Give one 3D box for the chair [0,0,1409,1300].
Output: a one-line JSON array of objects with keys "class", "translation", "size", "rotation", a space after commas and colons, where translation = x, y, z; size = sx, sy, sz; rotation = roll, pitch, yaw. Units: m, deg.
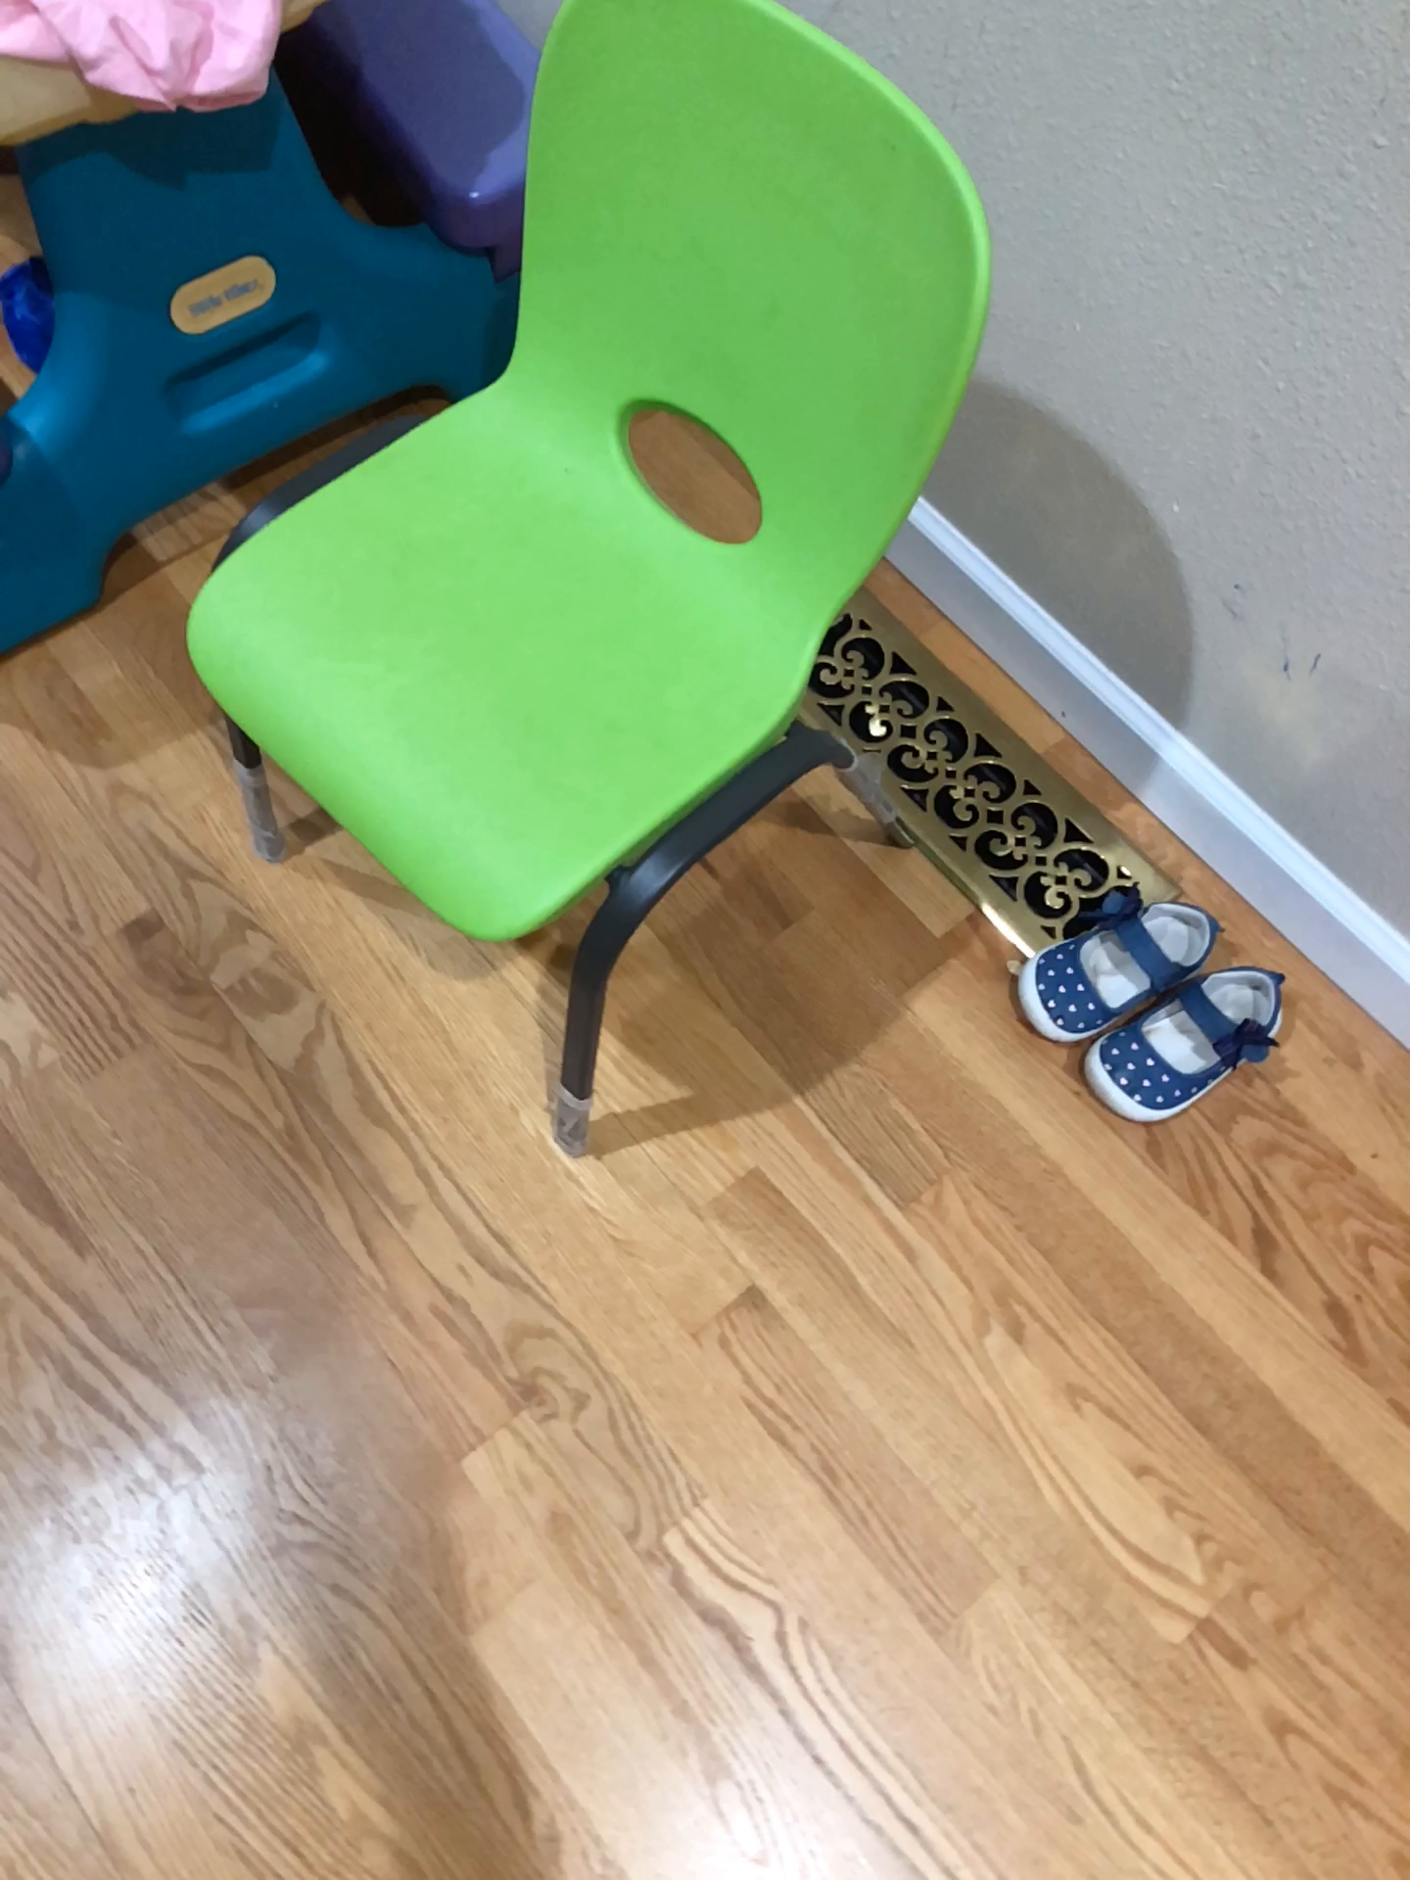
[{"class": "chair", "translation": [-0.047, -0.197, 0.923], "size": [0.481, 0.558, 0.511], "rotation": [-41, 73, -19]}]
